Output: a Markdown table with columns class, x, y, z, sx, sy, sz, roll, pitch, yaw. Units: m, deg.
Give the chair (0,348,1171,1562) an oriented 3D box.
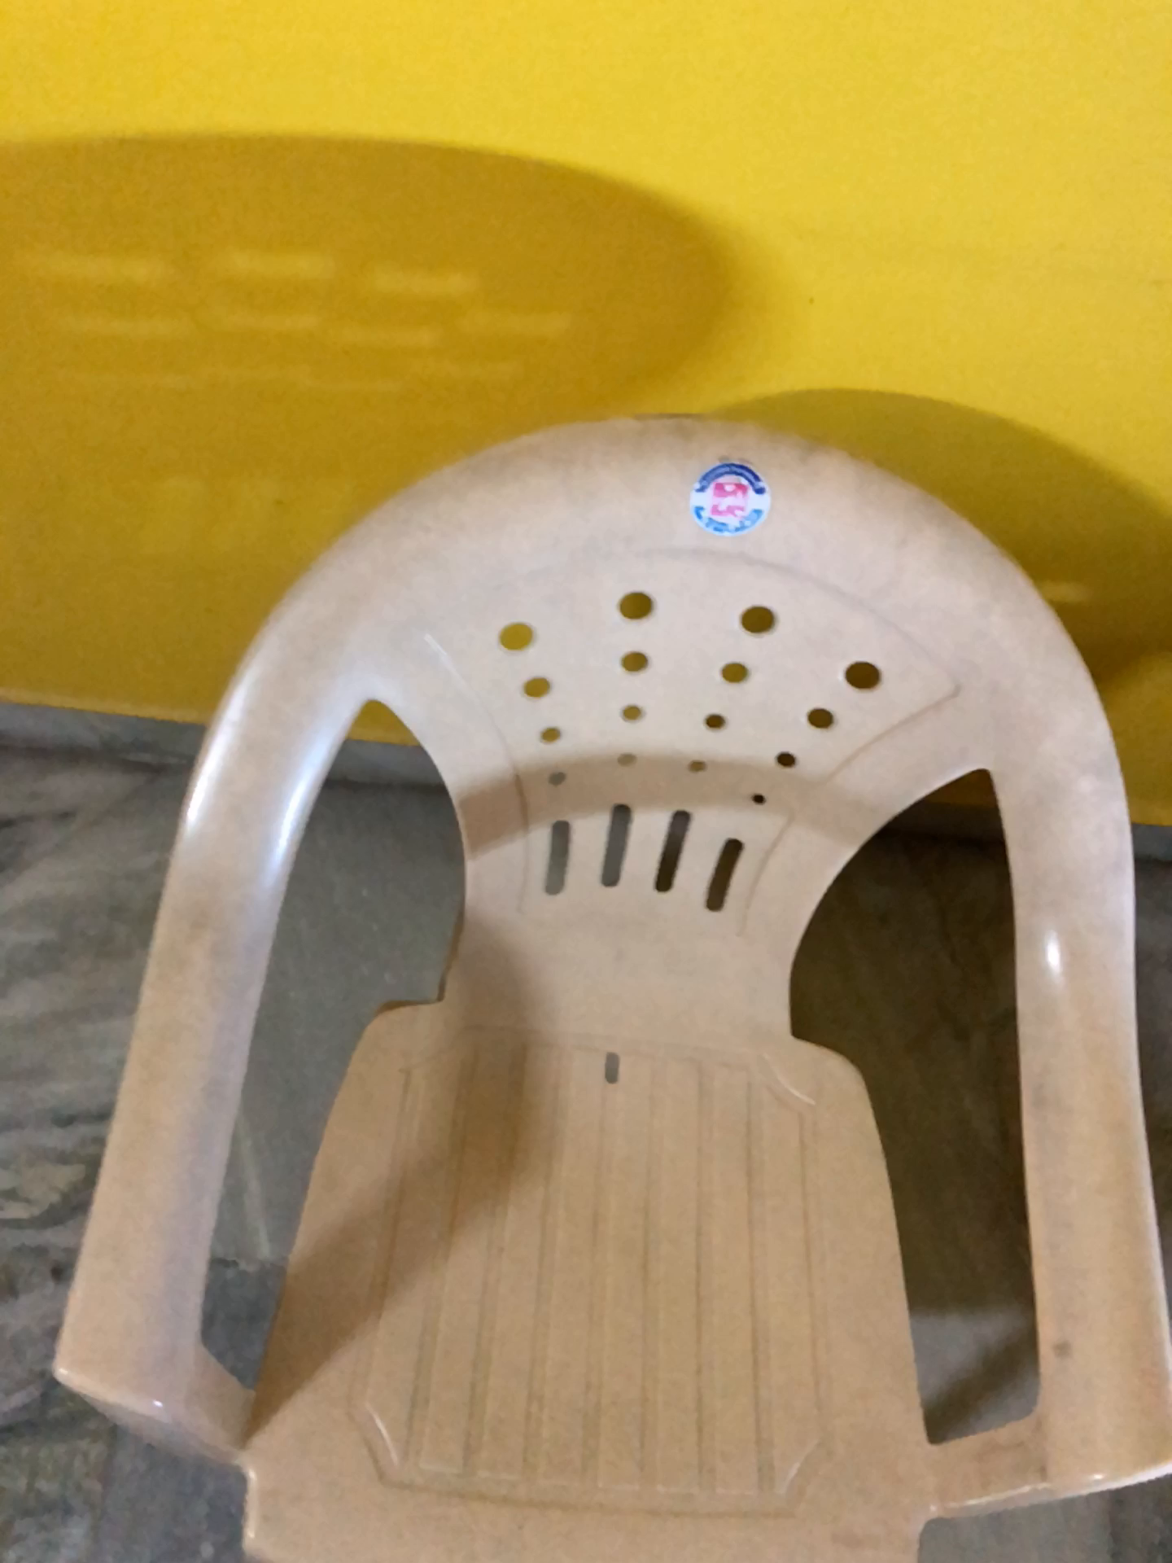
| class | x | y | z | sx | sy | sz | roll | pitch | yaw |
| --- | --- | --- | --- | --- | --- | --- | --- | --- | --- |
| chair | 0.029 | 0.248 | 0.841 | 0.530 | 0.787 | 0.562 | 6 | 64 | -3 |
